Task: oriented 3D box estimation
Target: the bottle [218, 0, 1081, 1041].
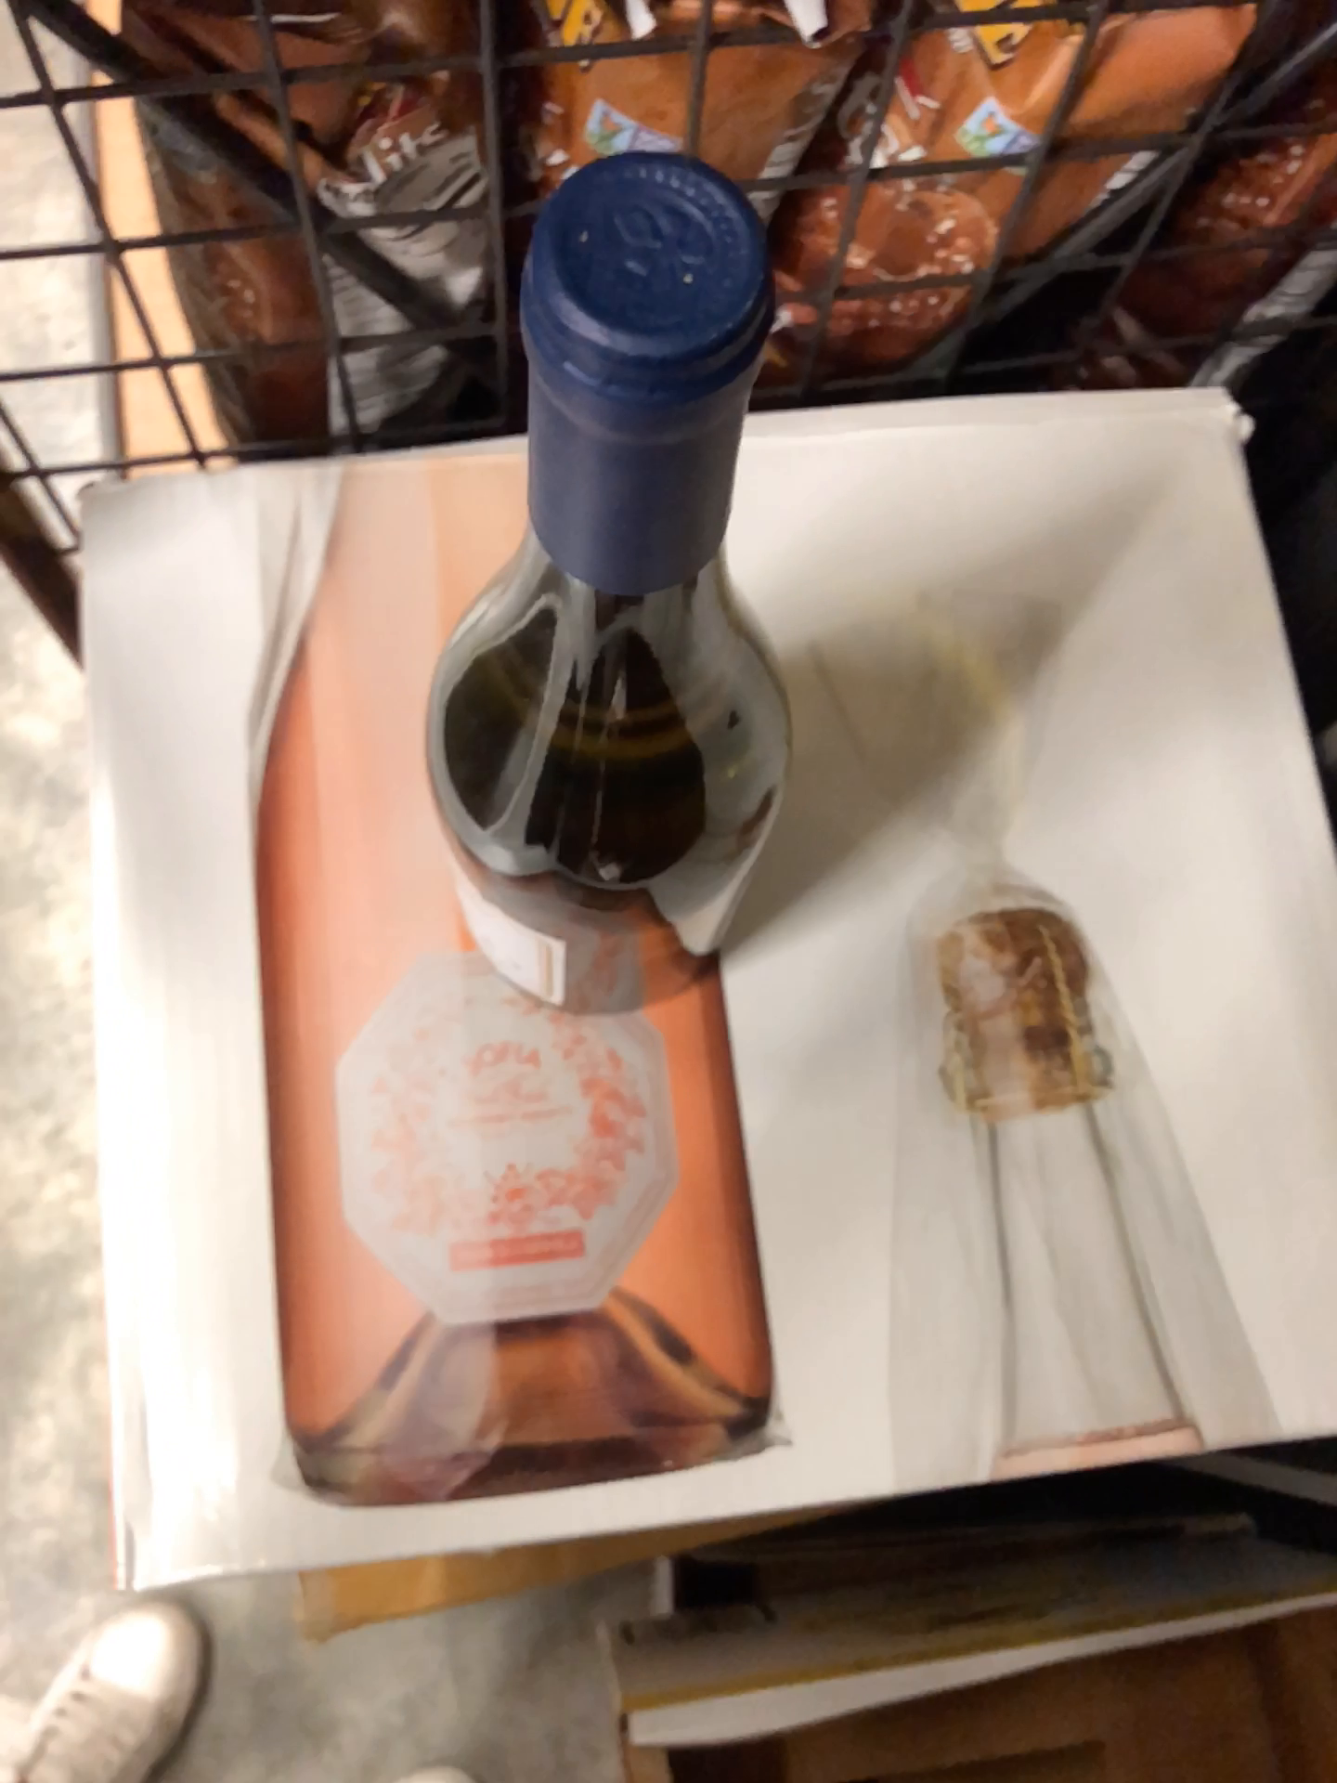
[{"bbox_3d":[-0.015,-0.041,0.295,0.083,0.282,0.084,1,74,-4],"label":"bottle"}]
